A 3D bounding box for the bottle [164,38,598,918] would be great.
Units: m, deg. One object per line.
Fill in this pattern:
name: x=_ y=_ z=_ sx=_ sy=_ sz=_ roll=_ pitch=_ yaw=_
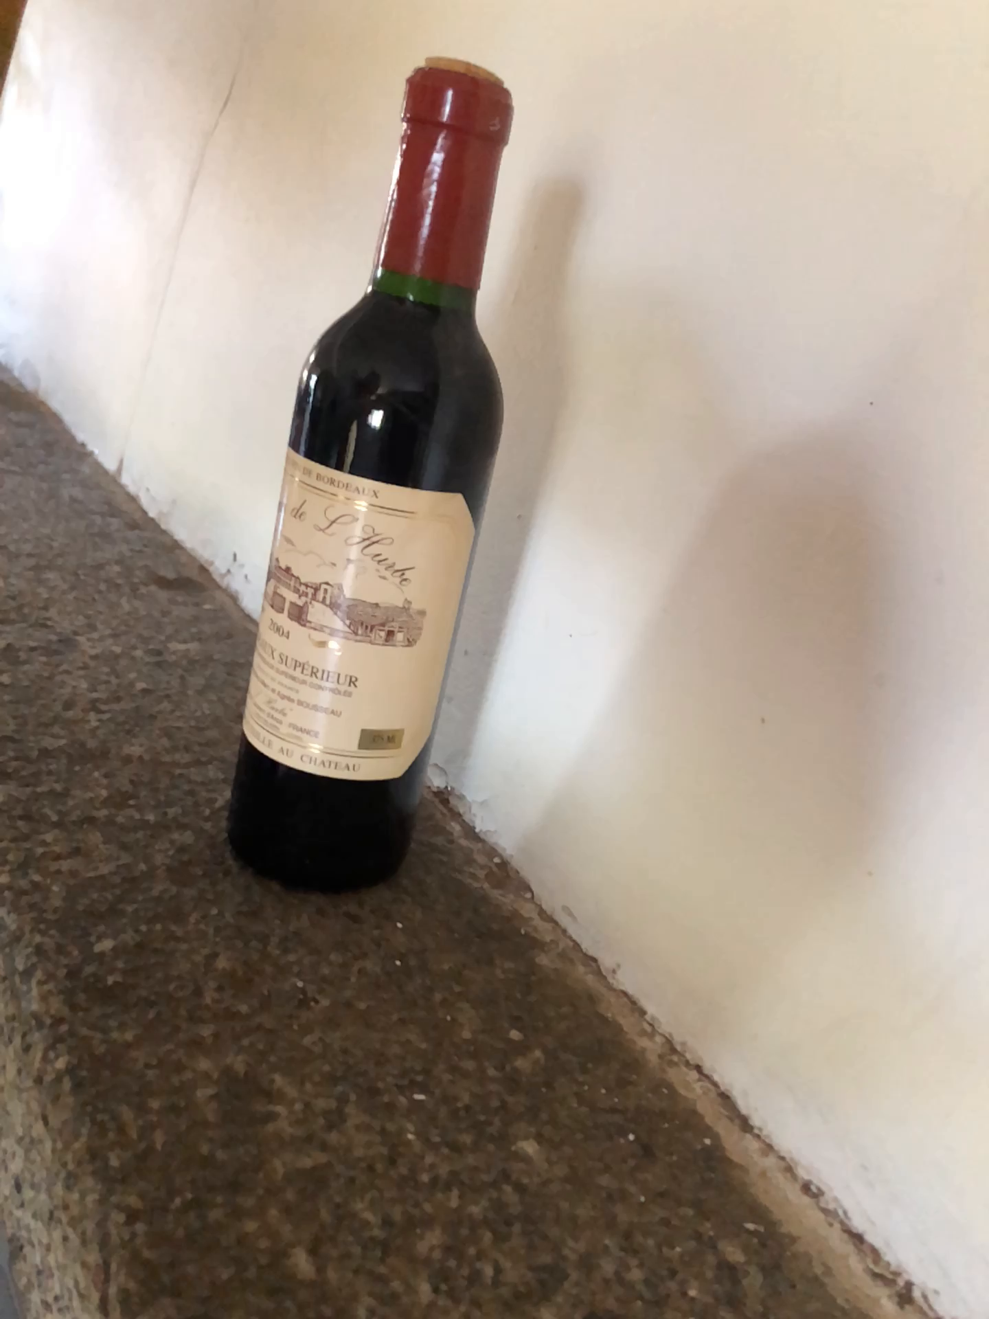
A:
bottle: x=-0.039 y=-0.046 z=0.320 sx=0.060 sy=0.229 sz=0.060 roll=12 pitch=17 yaw=-4
